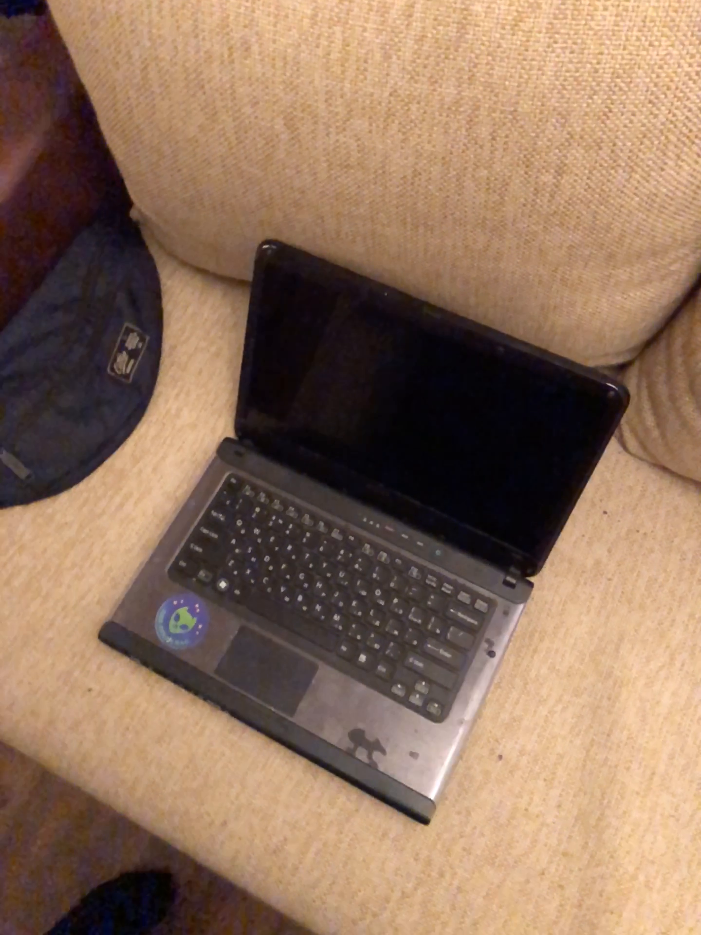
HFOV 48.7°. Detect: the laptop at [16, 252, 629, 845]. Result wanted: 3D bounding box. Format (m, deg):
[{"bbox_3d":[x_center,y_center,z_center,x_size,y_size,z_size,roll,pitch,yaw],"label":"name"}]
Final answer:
[{"bbox_3d":[-0.008,0.055,0.665,0.338,0.175,0.349,25,71,12],"label":"laptop"}]
